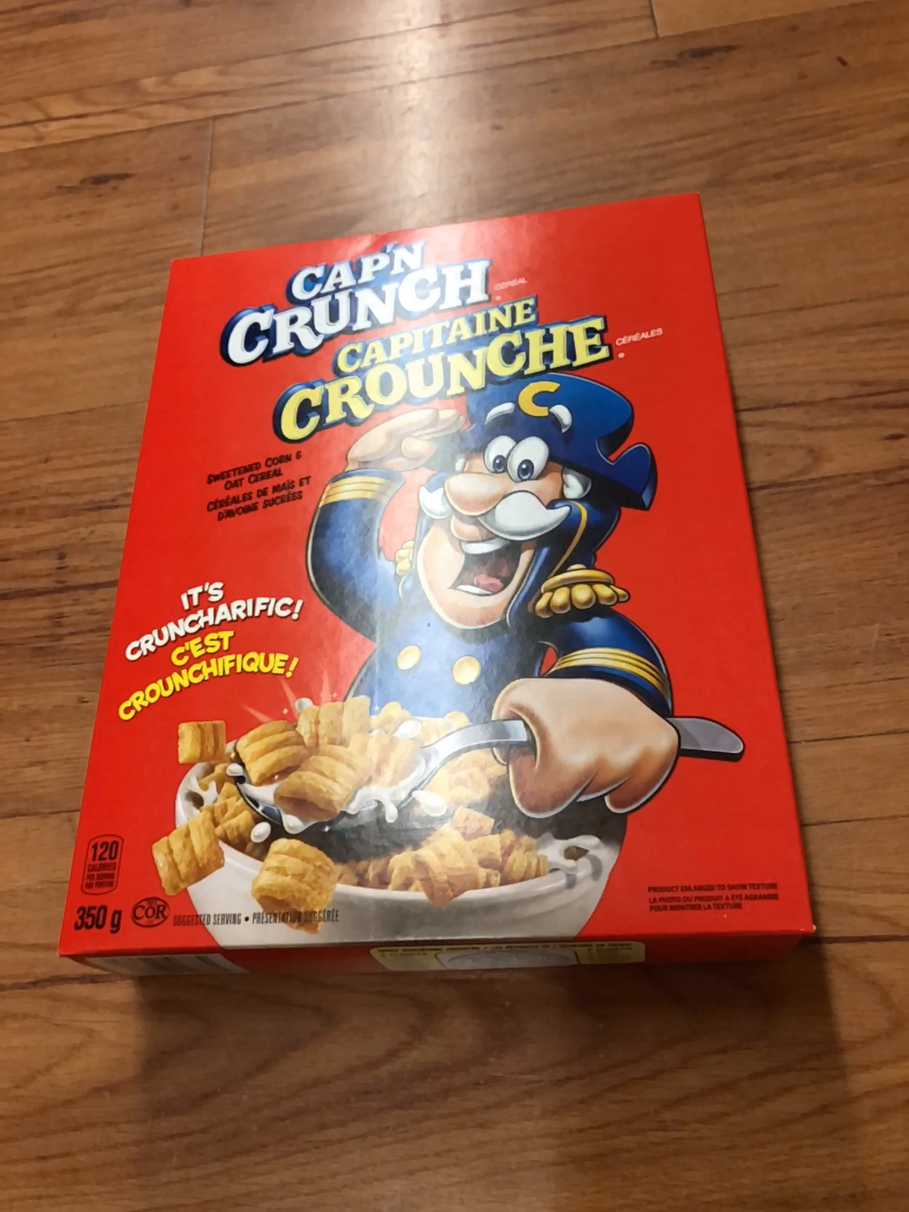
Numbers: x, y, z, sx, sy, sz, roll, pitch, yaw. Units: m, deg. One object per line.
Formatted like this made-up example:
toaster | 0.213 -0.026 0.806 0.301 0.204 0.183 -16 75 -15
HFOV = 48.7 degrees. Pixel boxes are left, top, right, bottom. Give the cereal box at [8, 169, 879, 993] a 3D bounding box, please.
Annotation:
cereal box | -0.006 -0.015 0.335 0.220 0.060 0.261 -5 63 8
